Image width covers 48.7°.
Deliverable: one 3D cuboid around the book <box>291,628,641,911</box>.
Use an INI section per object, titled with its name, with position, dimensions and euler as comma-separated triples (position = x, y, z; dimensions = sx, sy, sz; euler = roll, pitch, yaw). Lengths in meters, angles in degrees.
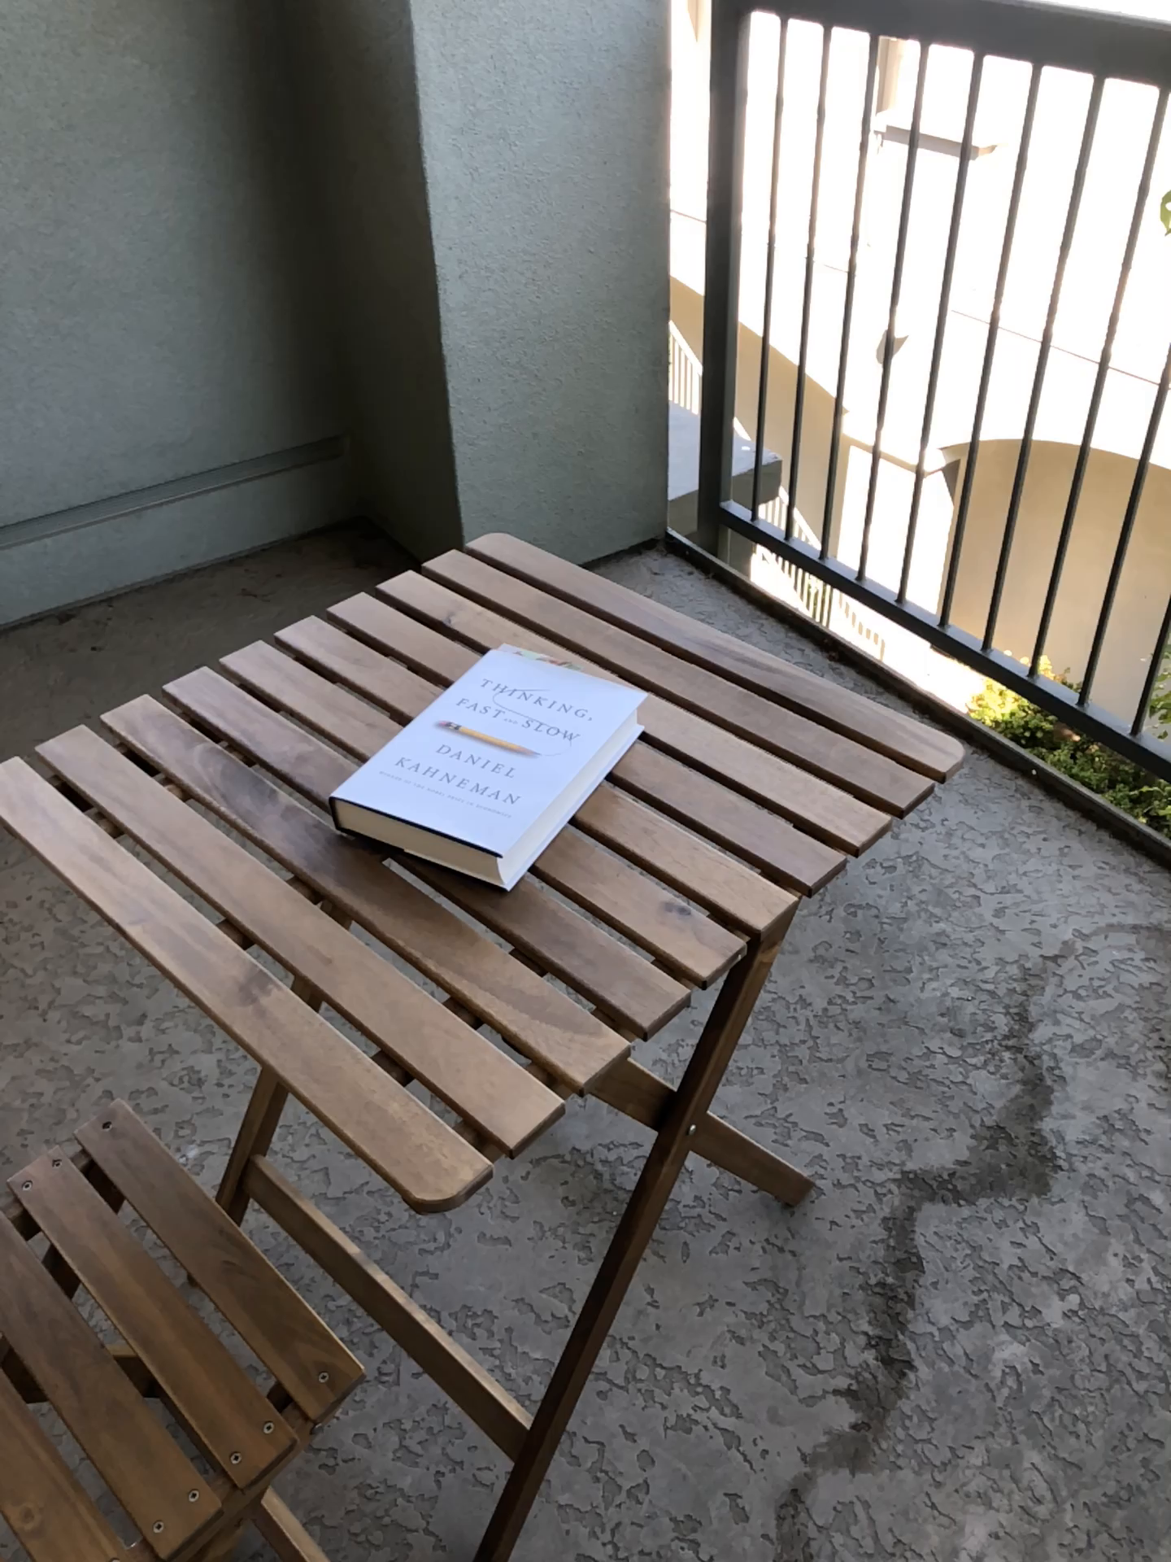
[book]
position = -0.089, -0.020, 1.055
dimensions = 0.180, 0.060, 0.241
euler = 17, 43, 23
